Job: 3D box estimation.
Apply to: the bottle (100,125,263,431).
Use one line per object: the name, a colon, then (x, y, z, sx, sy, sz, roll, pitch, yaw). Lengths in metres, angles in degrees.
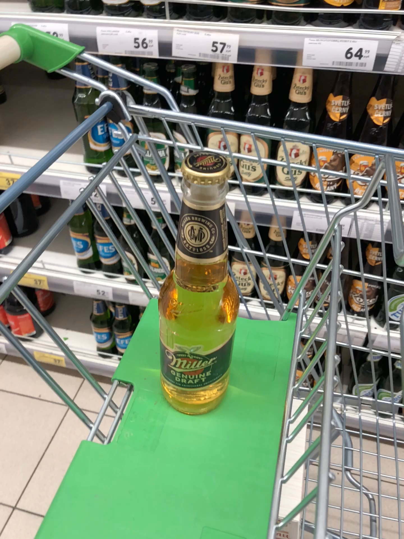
bottle: (-0.007, 0.017, 0.314, 0.070, 0.209, 0.070, -1, 40, 0)
